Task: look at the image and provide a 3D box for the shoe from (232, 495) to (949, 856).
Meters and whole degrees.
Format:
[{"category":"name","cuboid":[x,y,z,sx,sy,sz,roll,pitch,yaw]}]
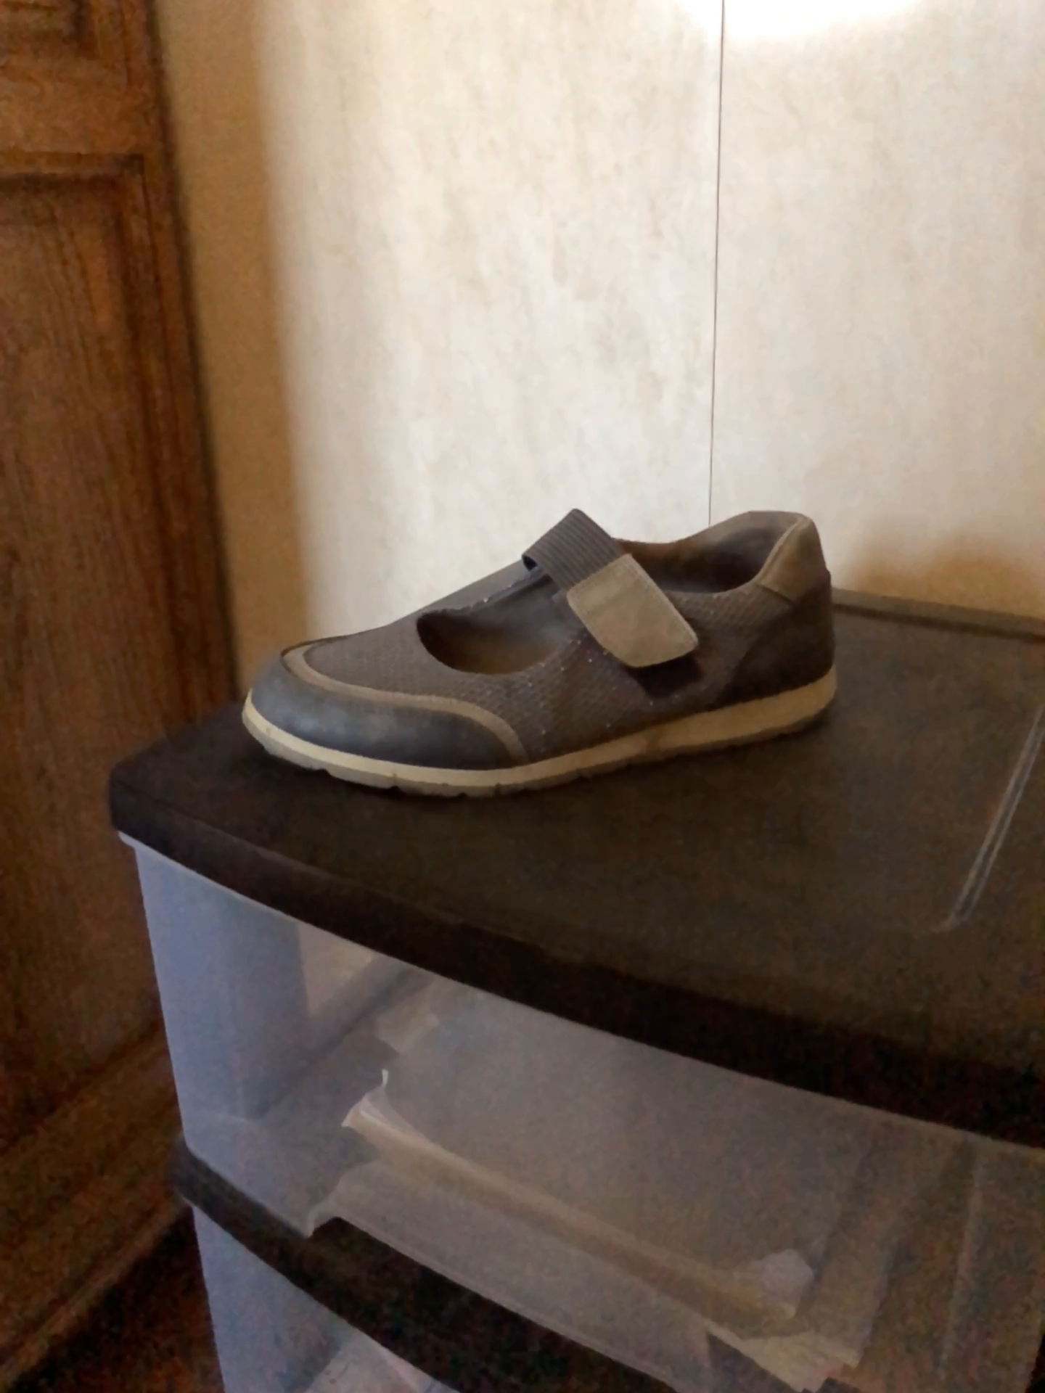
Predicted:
[{"category":"shoe","cuboid":[0.023,-0.019,0.466,0.260,0.080,0.110,-8,23,-16]}]
